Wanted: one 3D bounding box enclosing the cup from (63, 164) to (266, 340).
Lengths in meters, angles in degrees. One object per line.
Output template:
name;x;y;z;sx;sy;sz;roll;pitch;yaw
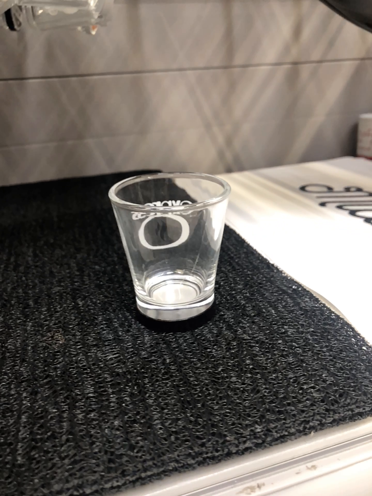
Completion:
cup;-0.003;-0.006;0.224;0.073;0.059;0.087;5;24;23
